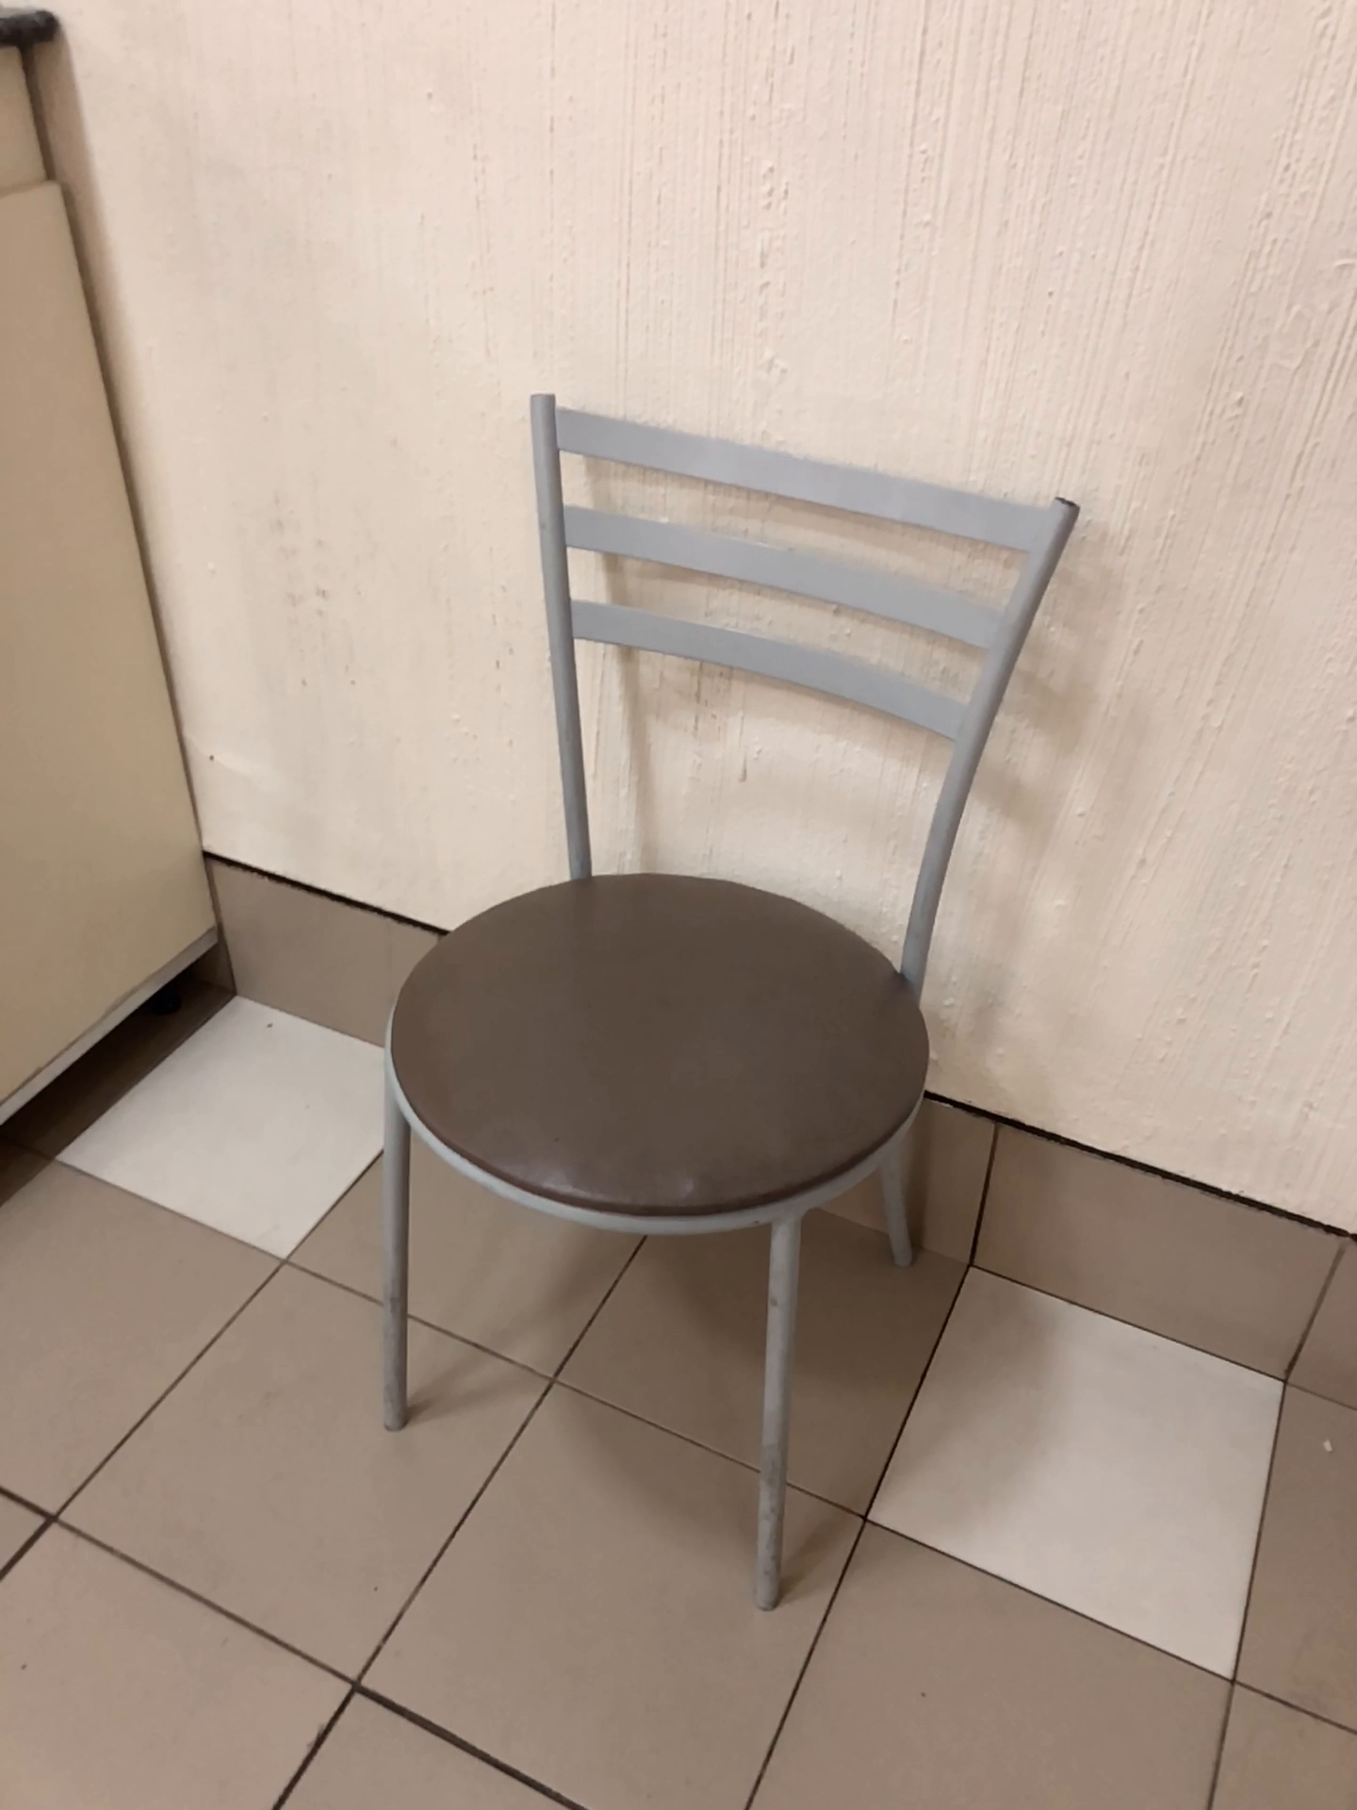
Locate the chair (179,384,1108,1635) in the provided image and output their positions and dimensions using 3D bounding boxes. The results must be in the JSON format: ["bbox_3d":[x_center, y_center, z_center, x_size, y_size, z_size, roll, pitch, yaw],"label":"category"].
[{"bbox_3d":[-0.004,0.079,1.139,0.430,0.764,0.423,16,39,19],"label":"chair"}]
